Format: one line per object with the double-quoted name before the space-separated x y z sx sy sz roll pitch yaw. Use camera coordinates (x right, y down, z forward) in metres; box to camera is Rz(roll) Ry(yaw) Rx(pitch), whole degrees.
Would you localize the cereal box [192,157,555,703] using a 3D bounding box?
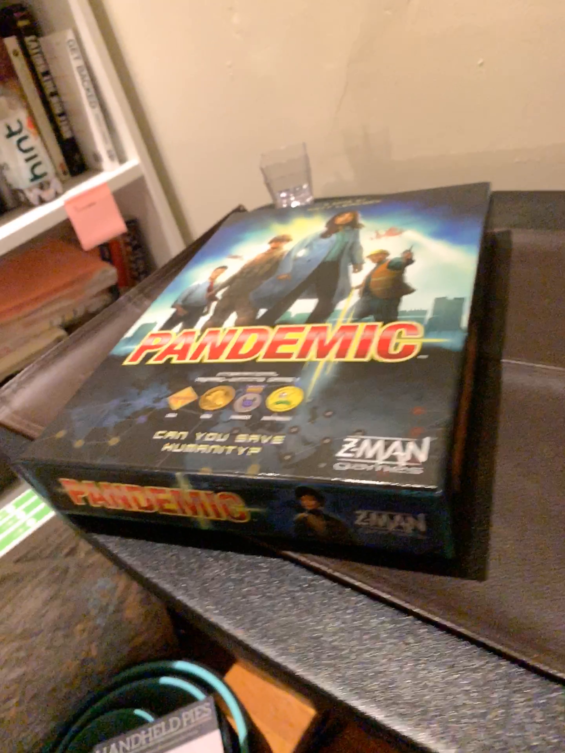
"cereal box" 0.219 0.150 1.283 0.470 0.994 0.513 -19 34 0
